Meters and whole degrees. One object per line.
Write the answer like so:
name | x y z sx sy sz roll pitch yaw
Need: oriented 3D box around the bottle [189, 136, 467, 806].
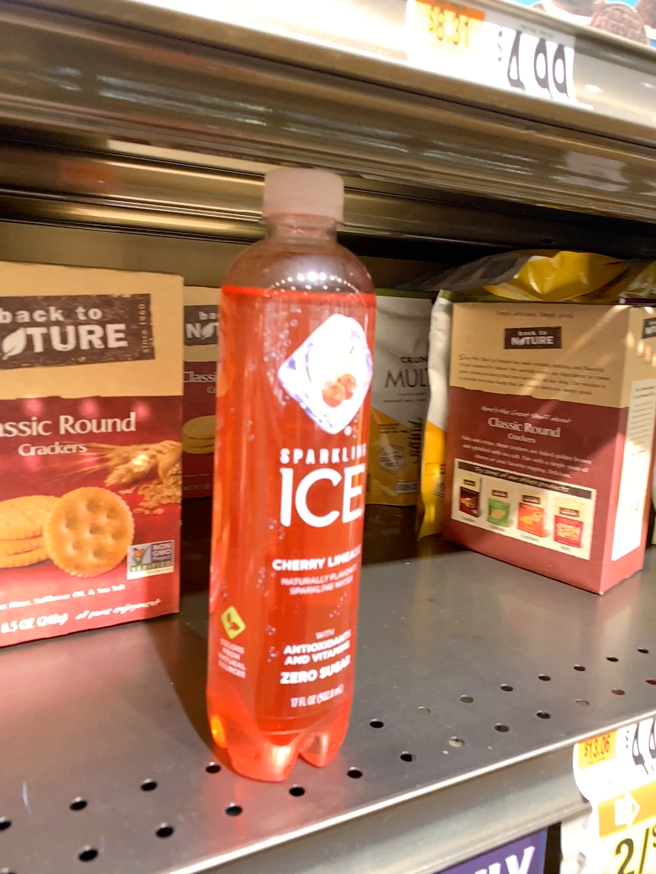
bottle | -0.007 0.013 0.244 0.066 0.211 0.060 4 12 -1
